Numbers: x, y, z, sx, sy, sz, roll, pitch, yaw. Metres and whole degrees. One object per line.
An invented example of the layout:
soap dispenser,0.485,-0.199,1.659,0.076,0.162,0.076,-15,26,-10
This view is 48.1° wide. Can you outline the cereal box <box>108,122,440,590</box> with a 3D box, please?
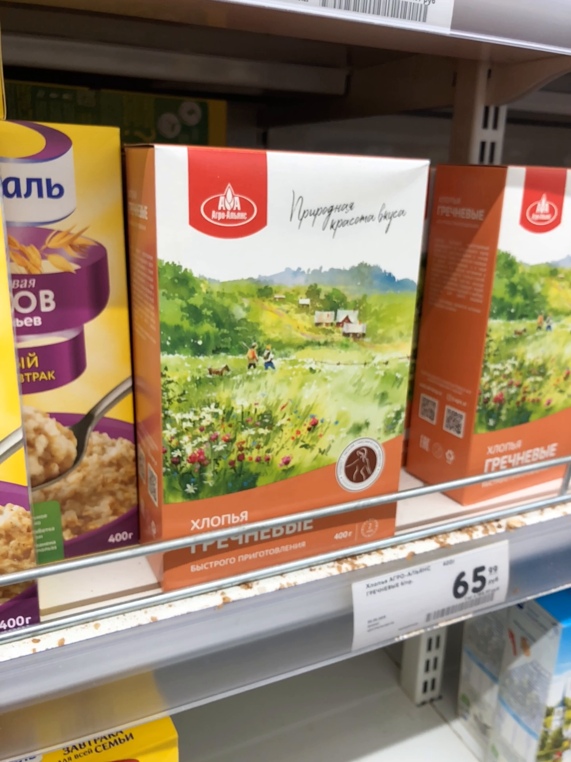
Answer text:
cereal box,-0.005,-0.014,0.314,0.140,0.199,0.050,-7,18,-24
